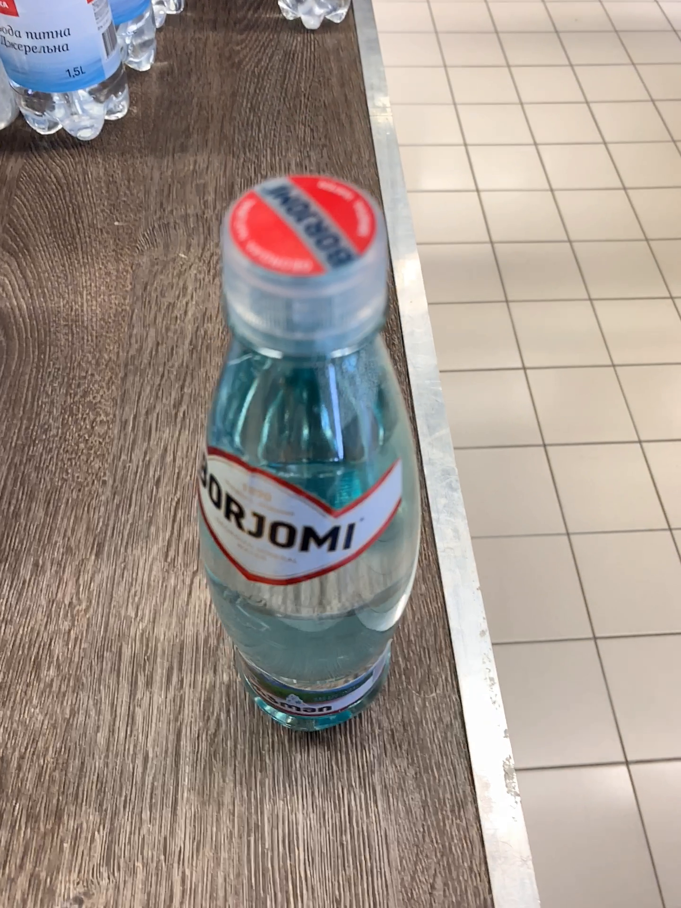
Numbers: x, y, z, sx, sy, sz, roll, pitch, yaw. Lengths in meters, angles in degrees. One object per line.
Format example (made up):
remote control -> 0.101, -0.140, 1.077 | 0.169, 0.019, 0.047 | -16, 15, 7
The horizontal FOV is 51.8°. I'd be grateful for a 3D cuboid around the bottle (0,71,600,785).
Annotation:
bottle -> -0.012, 0.029, 0.218 | 0.080, 0.239, 0.070 | 32, 62, 17
